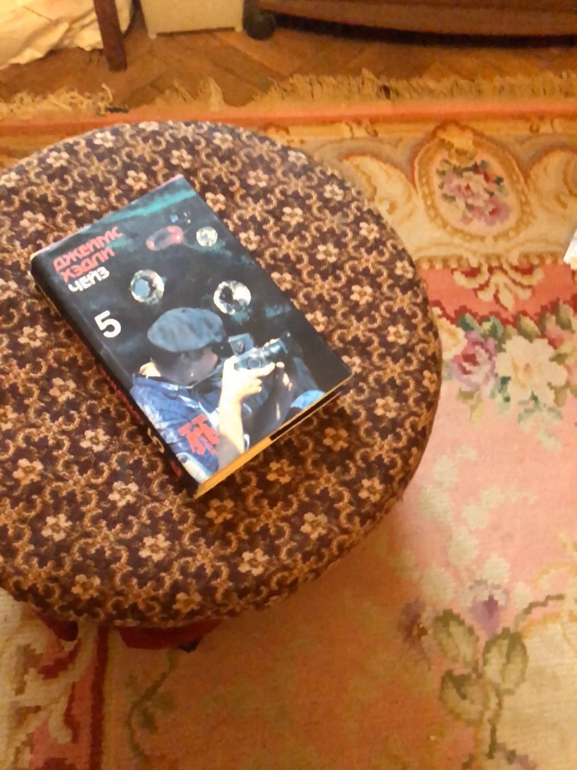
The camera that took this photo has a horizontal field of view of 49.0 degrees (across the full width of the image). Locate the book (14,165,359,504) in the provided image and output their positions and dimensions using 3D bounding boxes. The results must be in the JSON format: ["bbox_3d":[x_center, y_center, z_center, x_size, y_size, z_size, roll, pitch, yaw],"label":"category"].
[{"bbox_3d":[-0.070,-0.044,0.439,0.140,0.020,0.205,-34,77,-19],"label":"book"}]
